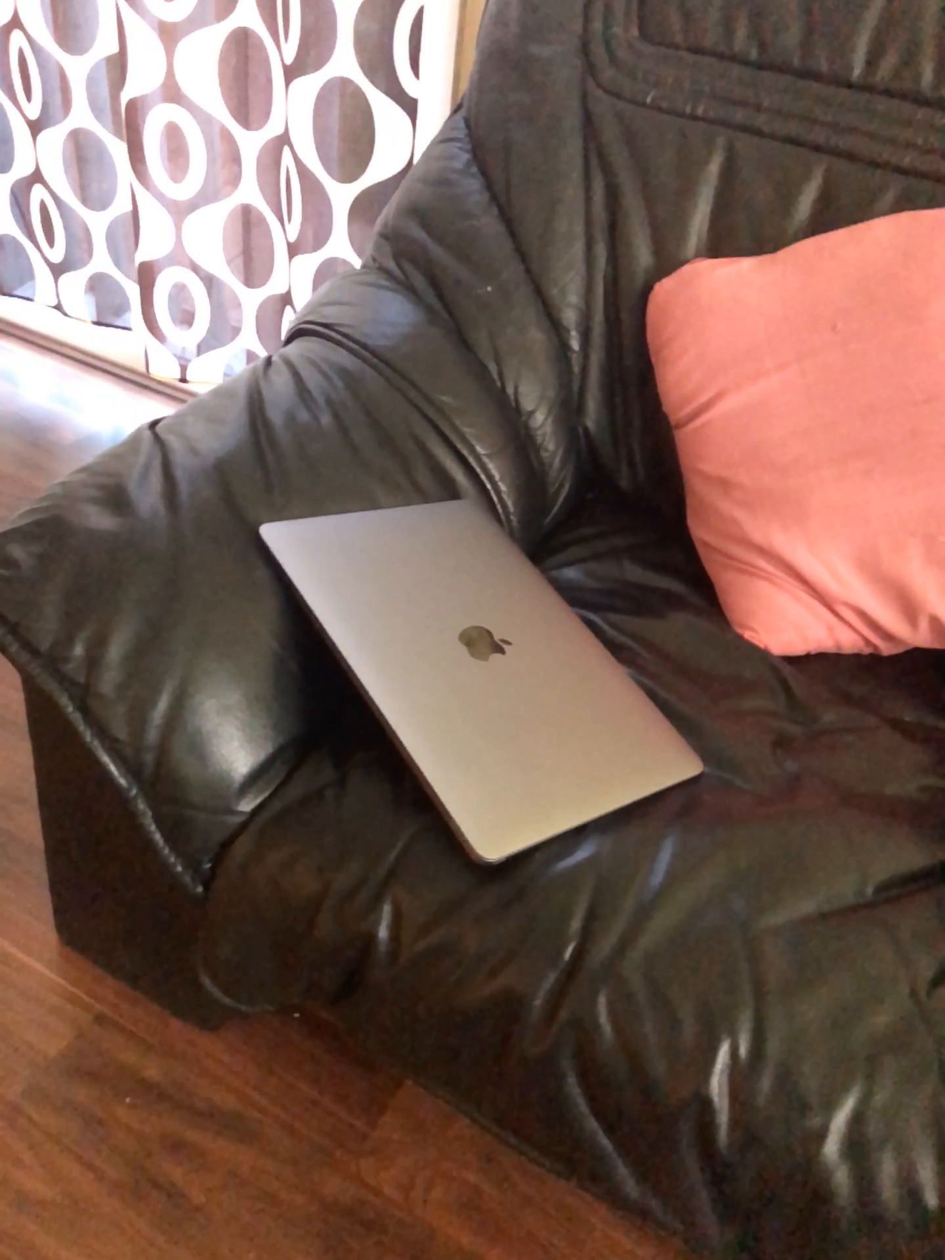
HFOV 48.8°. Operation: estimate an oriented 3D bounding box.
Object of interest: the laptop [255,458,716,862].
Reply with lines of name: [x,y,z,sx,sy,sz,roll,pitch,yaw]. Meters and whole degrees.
laptop: [0.005,-0.003,0.645,0.185,0.036,0.265,-12,52,-40]
